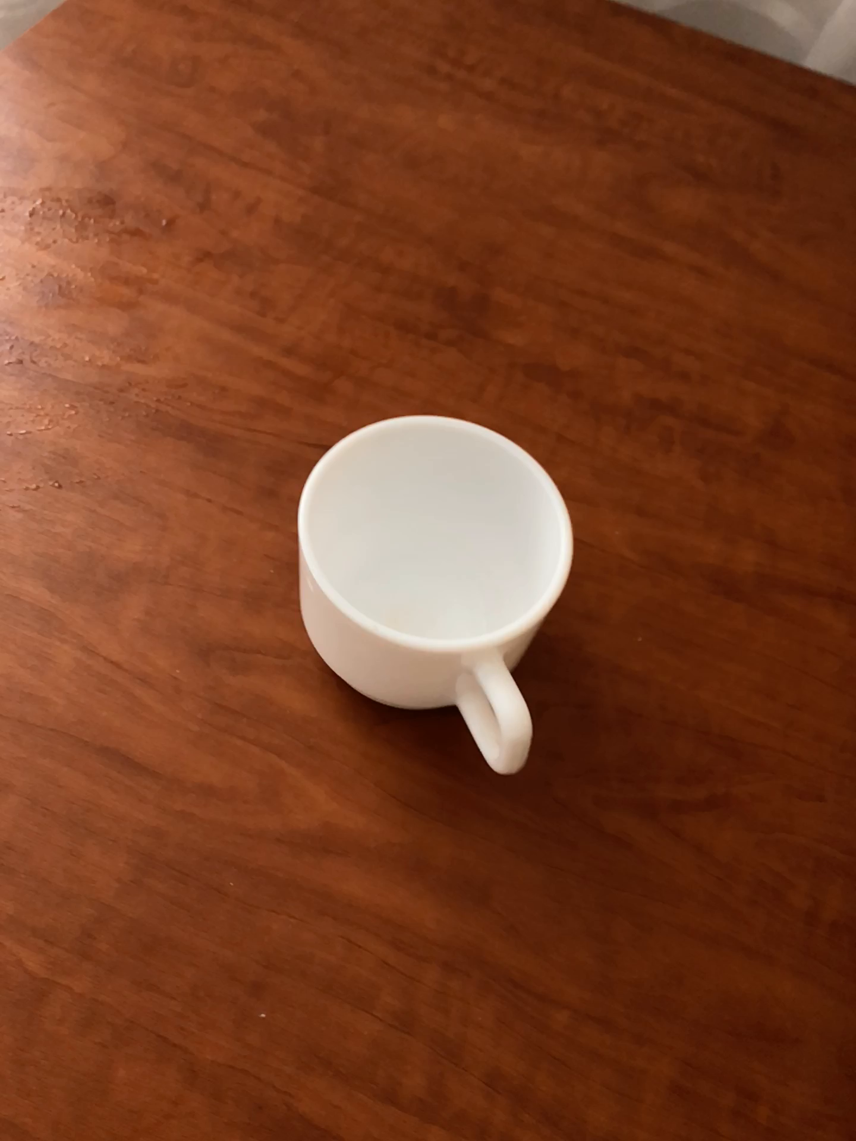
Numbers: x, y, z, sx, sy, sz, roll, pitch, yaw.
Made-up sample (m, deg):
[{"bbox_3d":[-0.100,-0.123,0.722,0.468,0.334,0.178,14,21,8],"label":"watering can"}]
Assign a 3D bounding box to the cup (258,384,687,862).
[{"bbox_3d":[0.006,0.014,0.304,0.087,0.060,0.120,-16,64,-18],"label":"cup"}]
